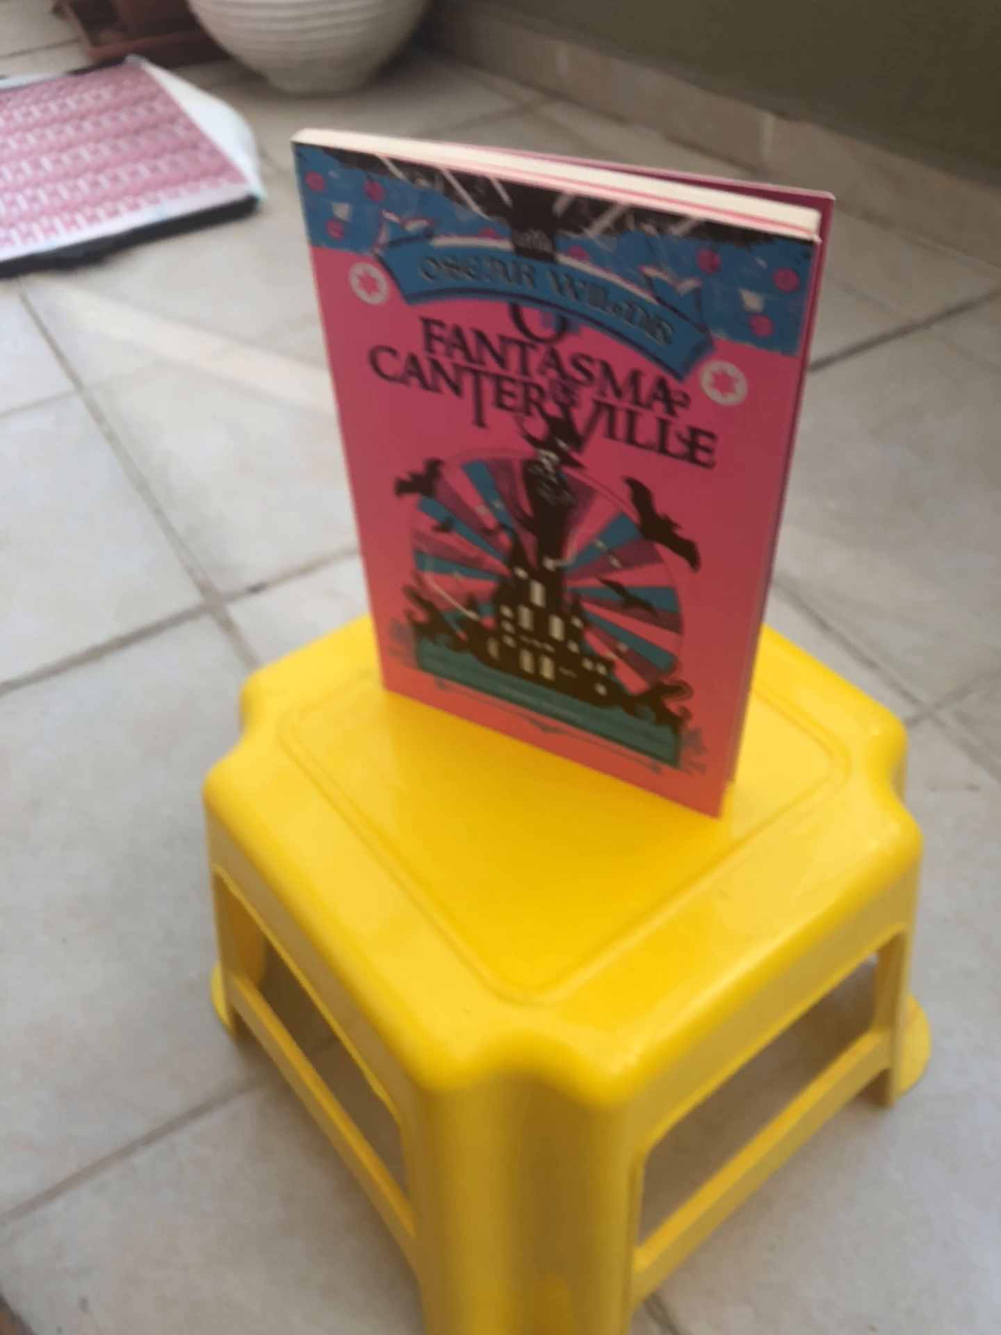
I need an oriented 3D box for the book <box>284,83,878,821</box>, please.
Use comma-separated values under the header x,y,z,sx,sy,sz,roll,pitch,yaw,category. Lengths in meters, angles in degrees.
x,y,z,sx,sy,sz,roll,pitch,yaw,category
0.020,-0.053,0.348,0.150,0.218,0.020,20,50,23,book
